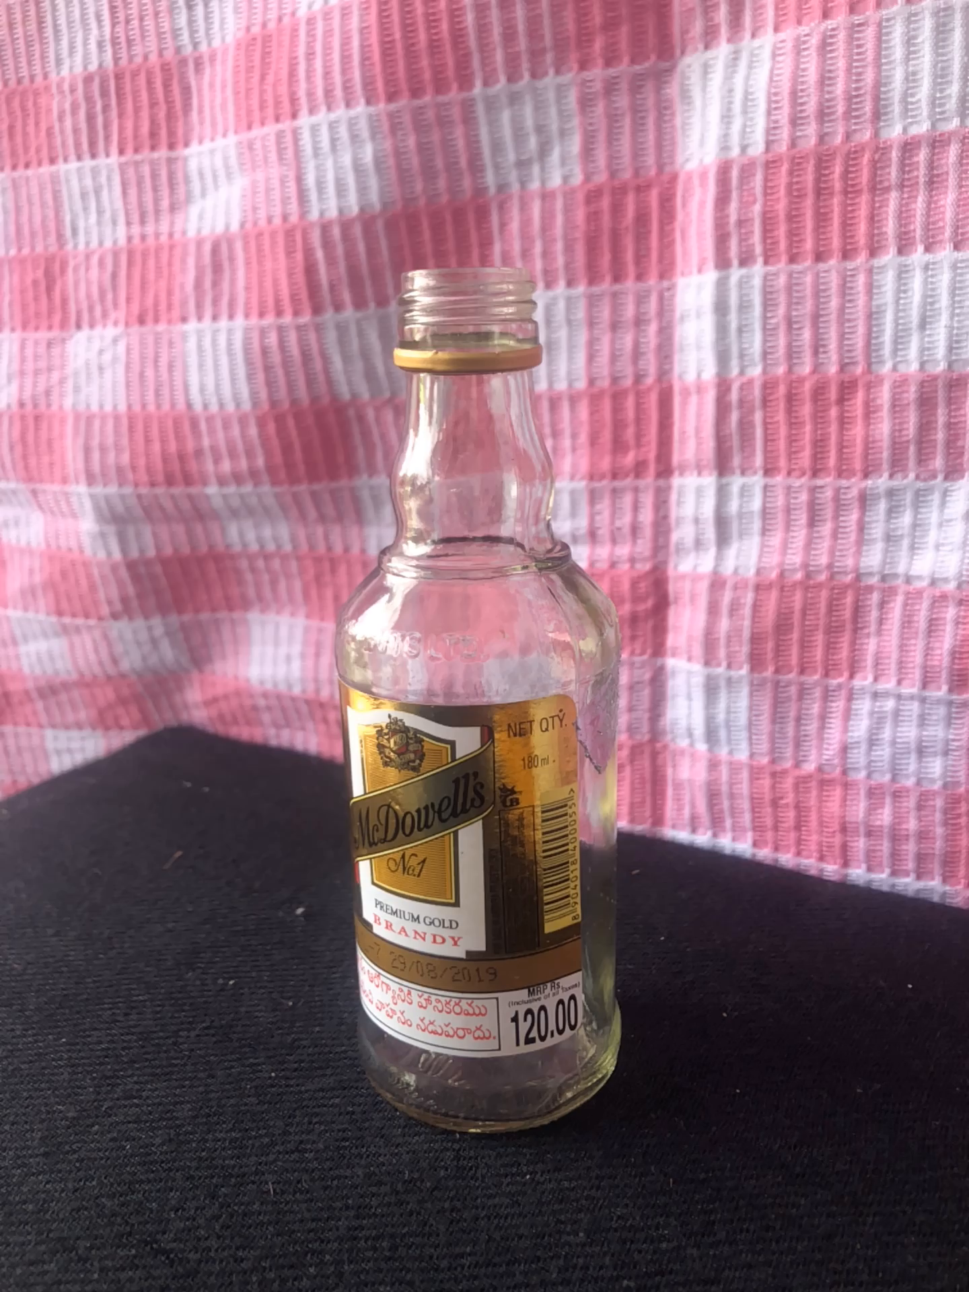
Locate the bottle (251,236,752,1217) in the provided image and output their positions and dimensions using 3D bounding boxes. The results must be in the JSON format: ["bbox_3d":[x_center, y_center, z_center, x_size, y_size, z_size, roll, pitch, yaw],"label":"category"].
[{"bbox_3d":[0.005,0.010,0.191,0.060,0.149,0.050,11,21,34],"label":"bottle"}]
